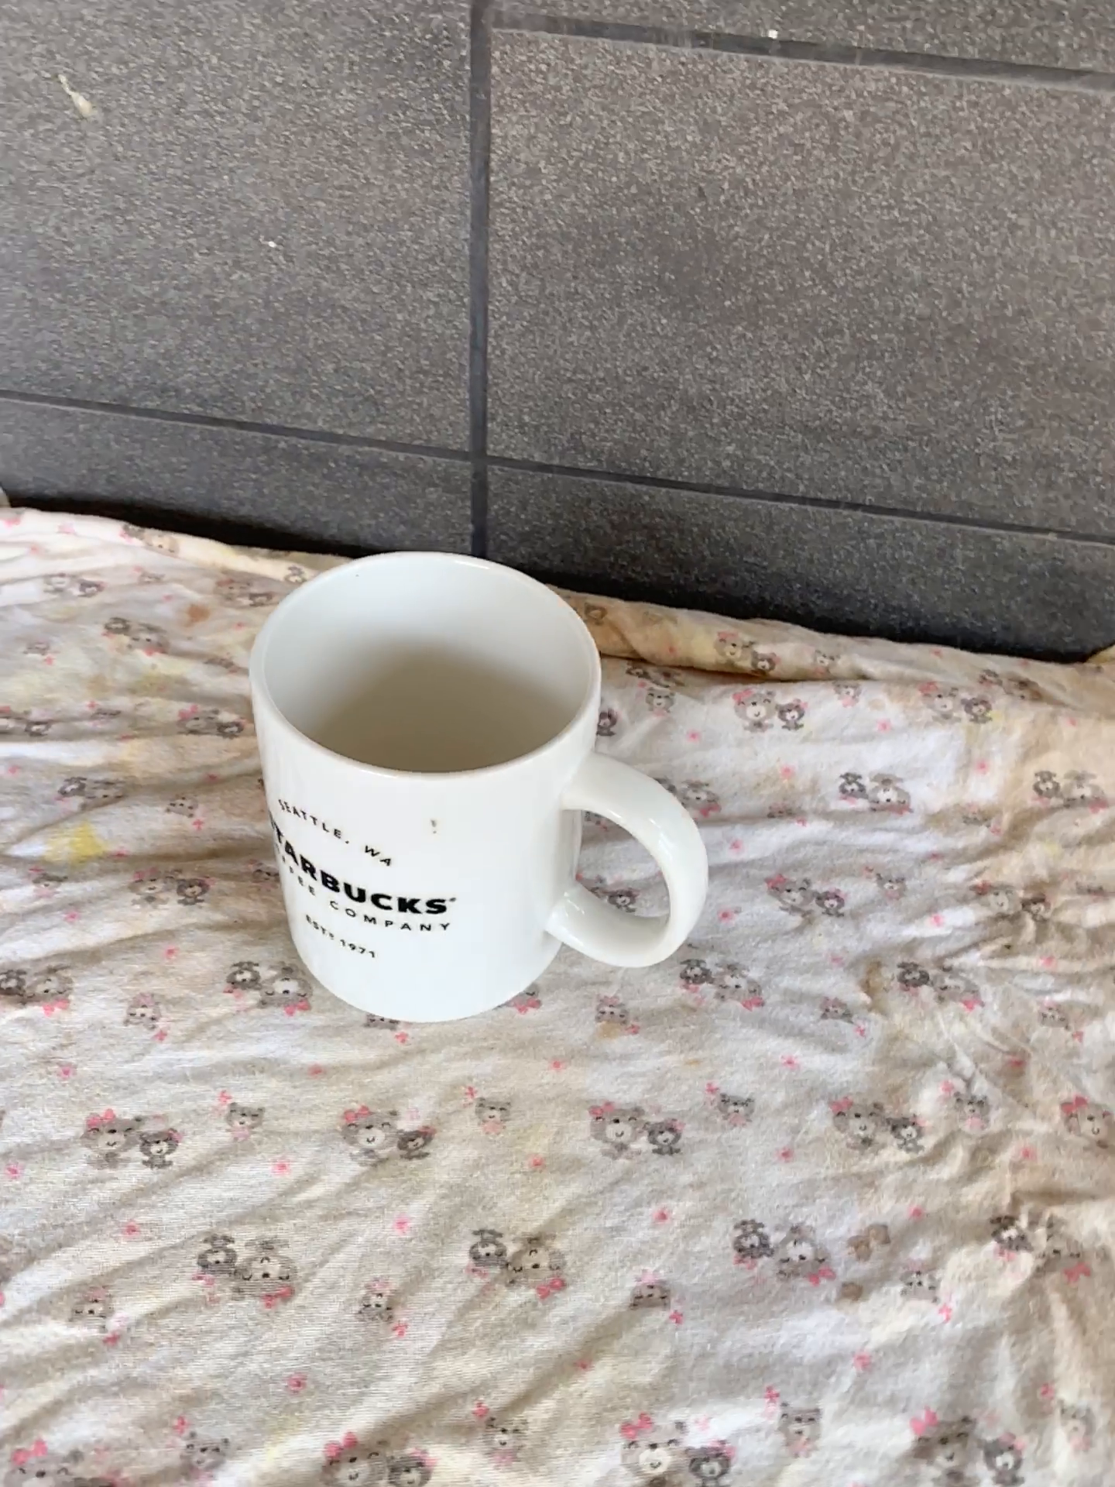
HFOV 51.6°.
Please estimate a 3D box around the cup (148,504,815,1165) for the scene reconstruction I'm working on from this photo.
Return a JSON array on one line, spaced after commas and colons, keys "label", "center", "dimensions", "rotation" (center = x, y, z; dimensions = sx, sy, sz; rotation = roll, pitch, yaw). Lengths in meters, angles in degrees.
[{"label": "cup", "center": [-0.017, 0.022, 0.310], "dimensions": [0.130, 0.110, 0.090], "rotation": [19, 46, 15]}]
